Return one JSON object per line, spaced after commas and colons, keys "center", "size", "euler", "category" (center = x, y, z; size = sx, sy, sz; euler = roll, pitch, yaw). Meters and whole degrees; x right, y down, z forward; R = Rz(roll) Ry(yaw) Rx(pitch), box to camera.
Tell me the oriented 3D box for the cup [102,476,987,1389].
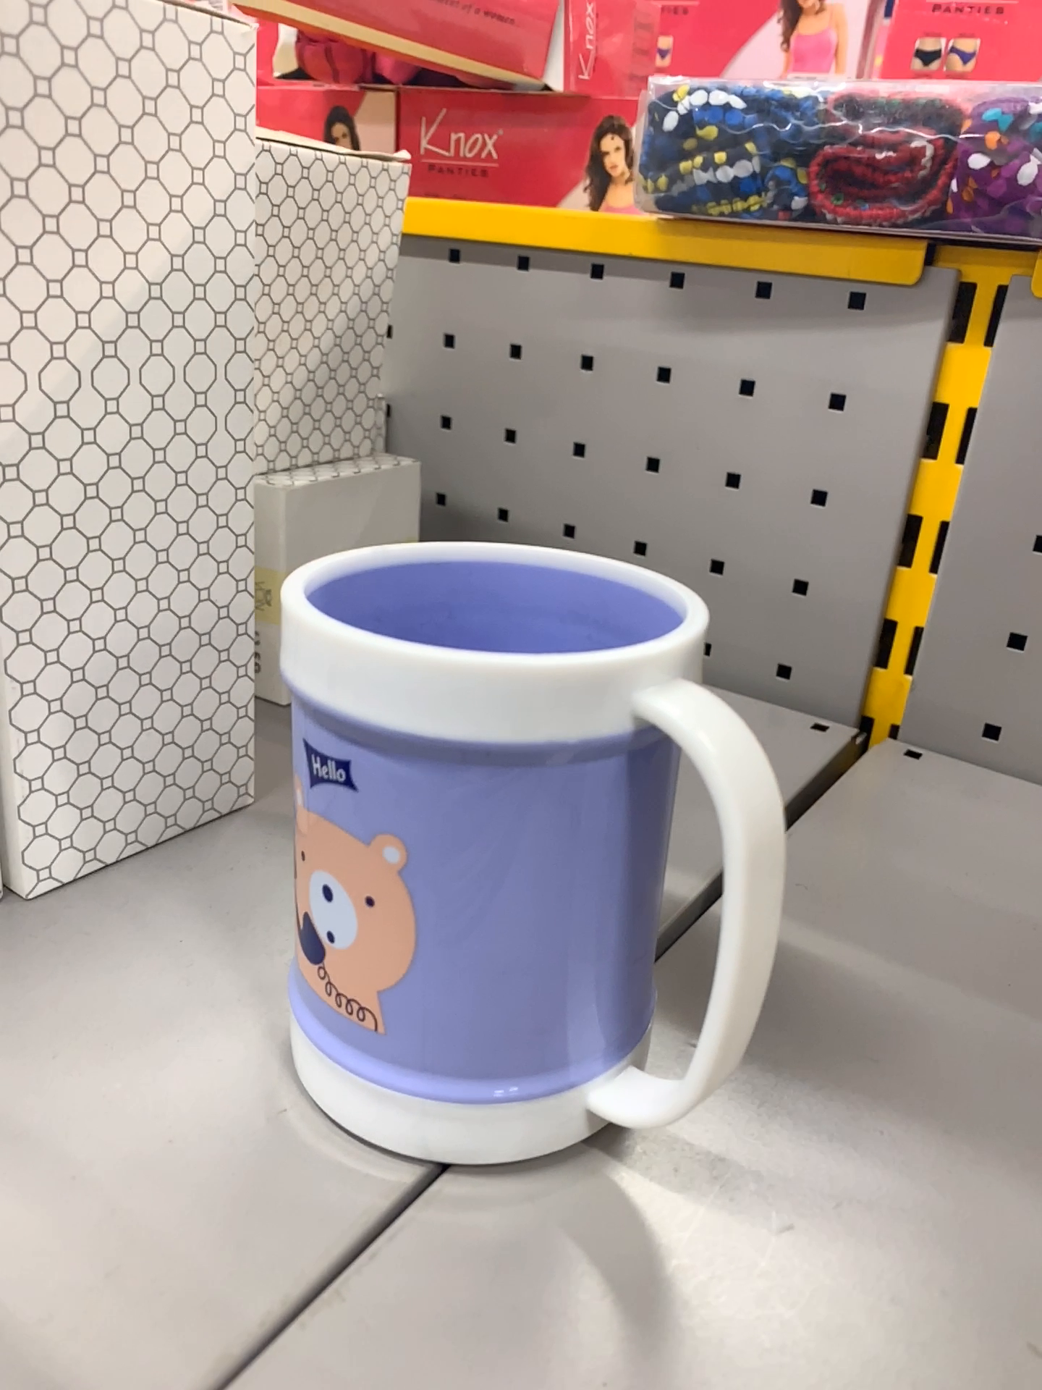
{"center": [-0.002, 0.025, 0.200], "size": [0.120, 0.100, 0.090], "euler": [23, 28, 36], "category": "cup"}
